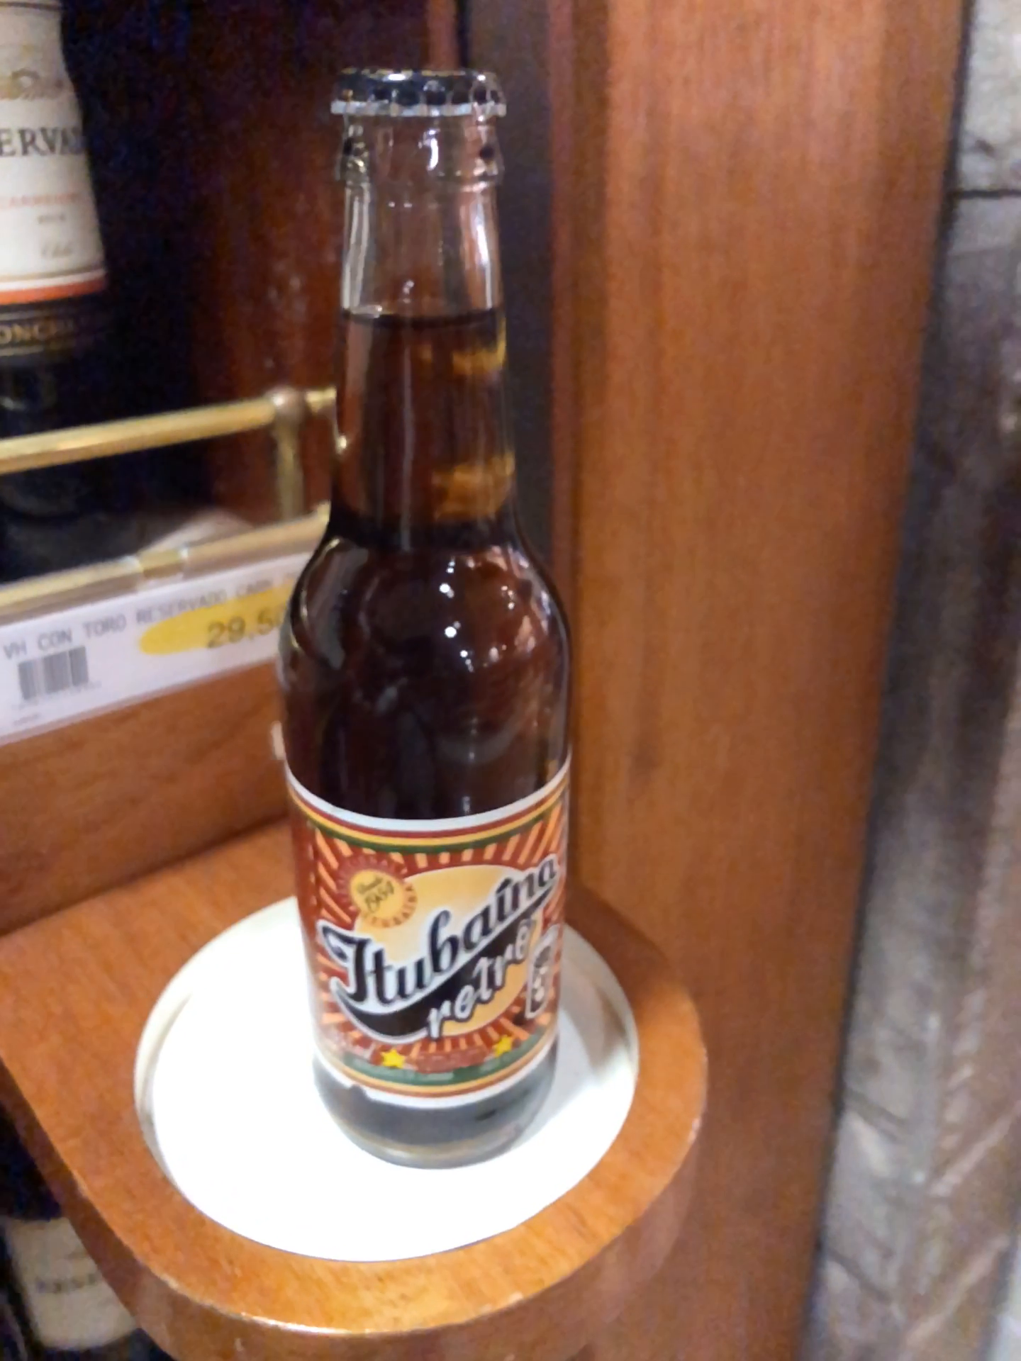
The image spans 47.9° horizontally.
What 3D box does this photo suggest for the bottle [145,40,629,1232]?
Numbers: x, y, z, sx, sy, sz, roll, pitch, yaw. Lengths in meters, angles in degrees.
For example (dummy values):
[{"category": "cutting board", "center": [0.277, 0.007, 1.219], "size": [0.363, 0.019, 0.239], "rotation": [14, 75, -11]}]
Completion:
[{"category": "bottle", "center": [-0.024, -0.002, 0.265], "size": [0.070, 0.248, 0.070], "rotation": [-1, 24, 1]}]
